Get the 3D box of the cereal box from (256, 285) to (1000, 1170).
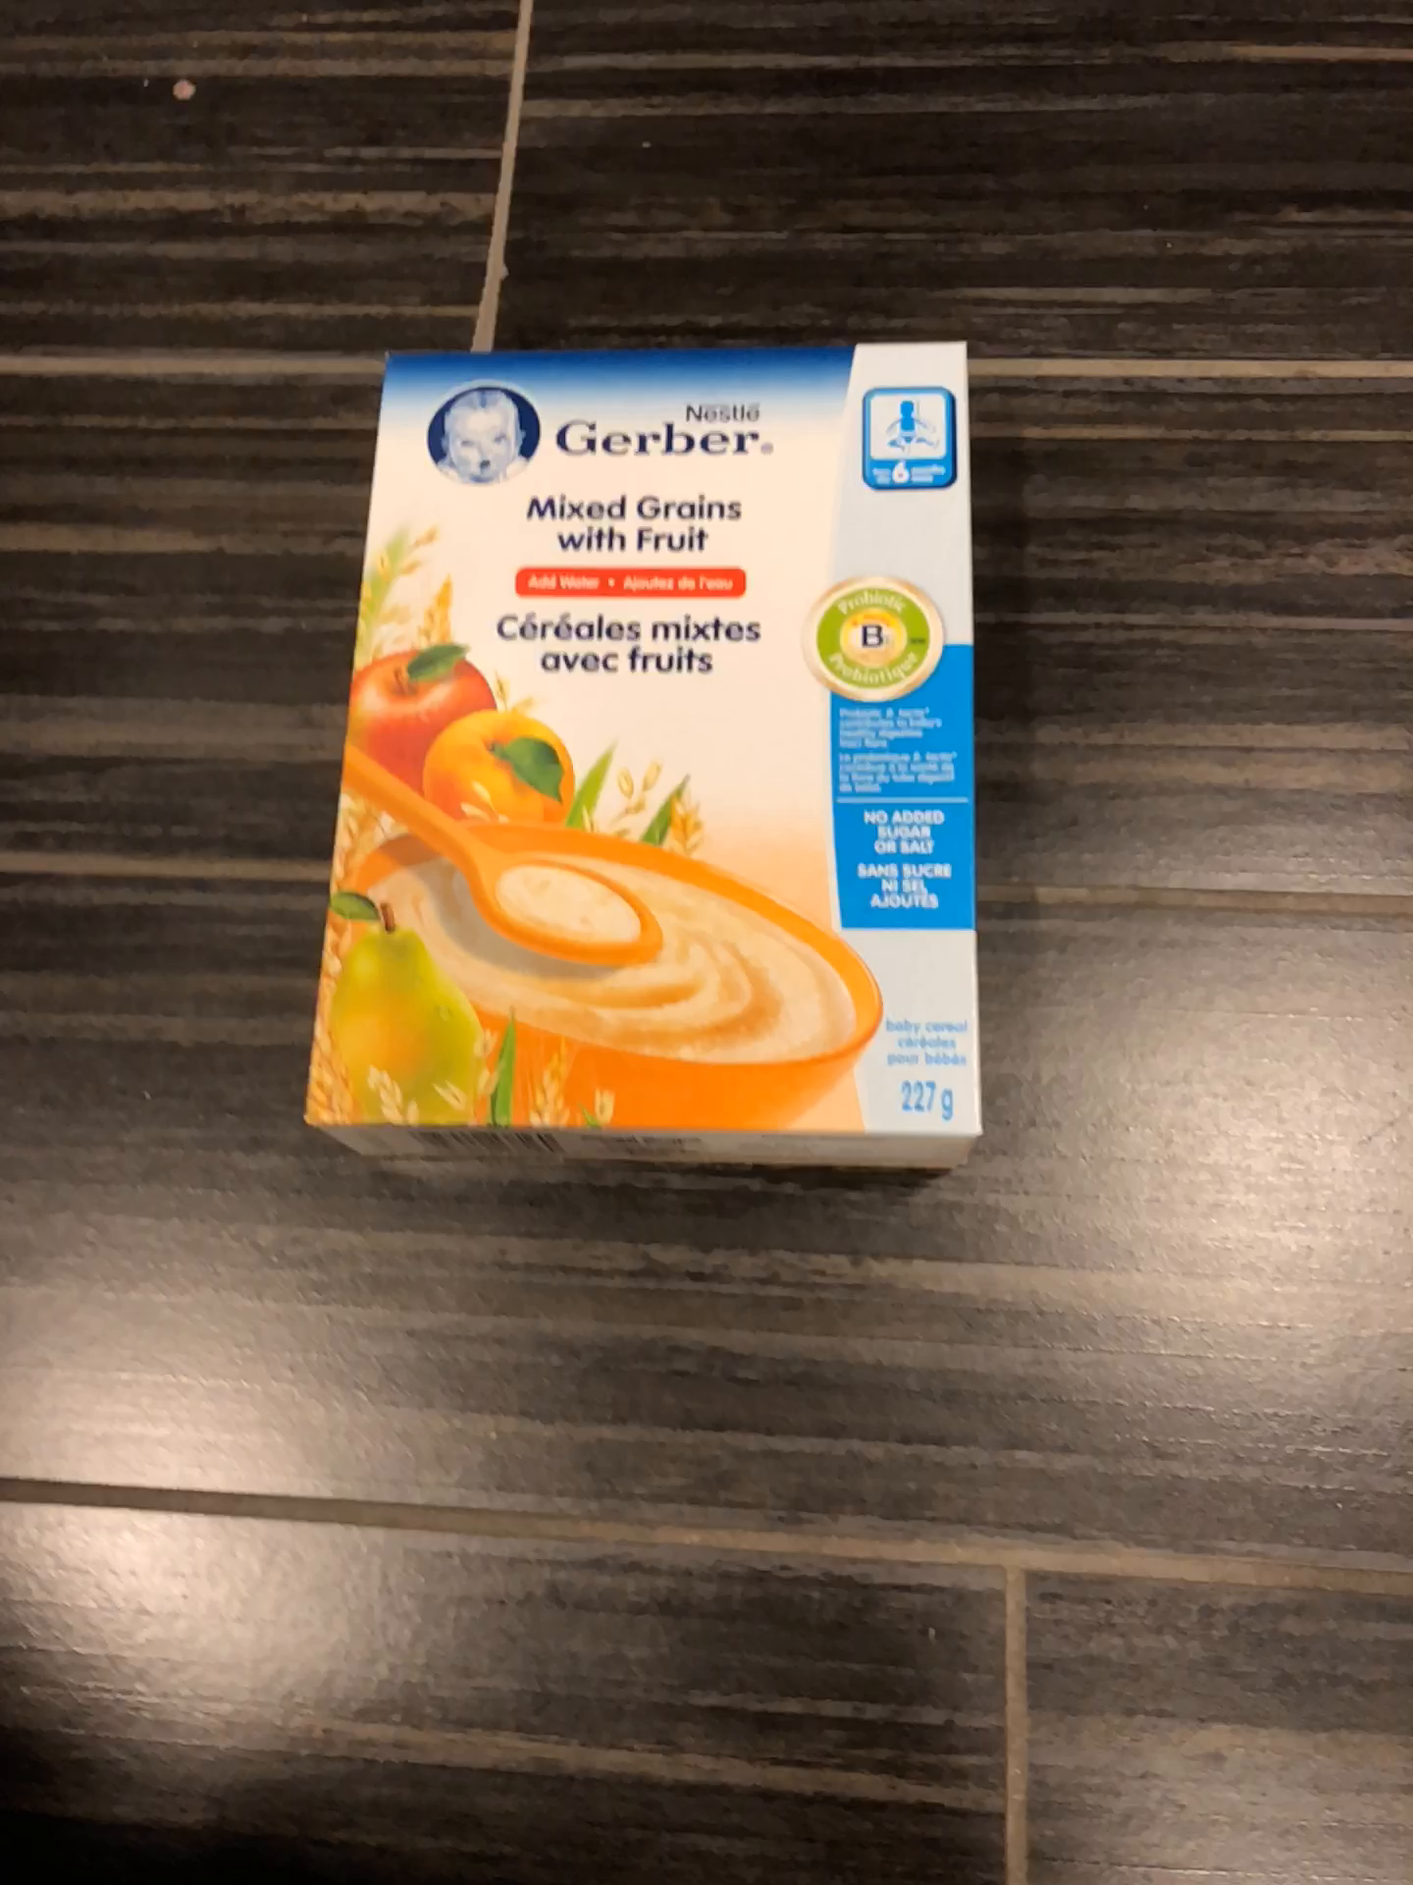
[{"bbox_3d":[-0.012,-0.052,0.368,0.150,0.050,0.200,1,73,3],"label":"cereal box"}]
